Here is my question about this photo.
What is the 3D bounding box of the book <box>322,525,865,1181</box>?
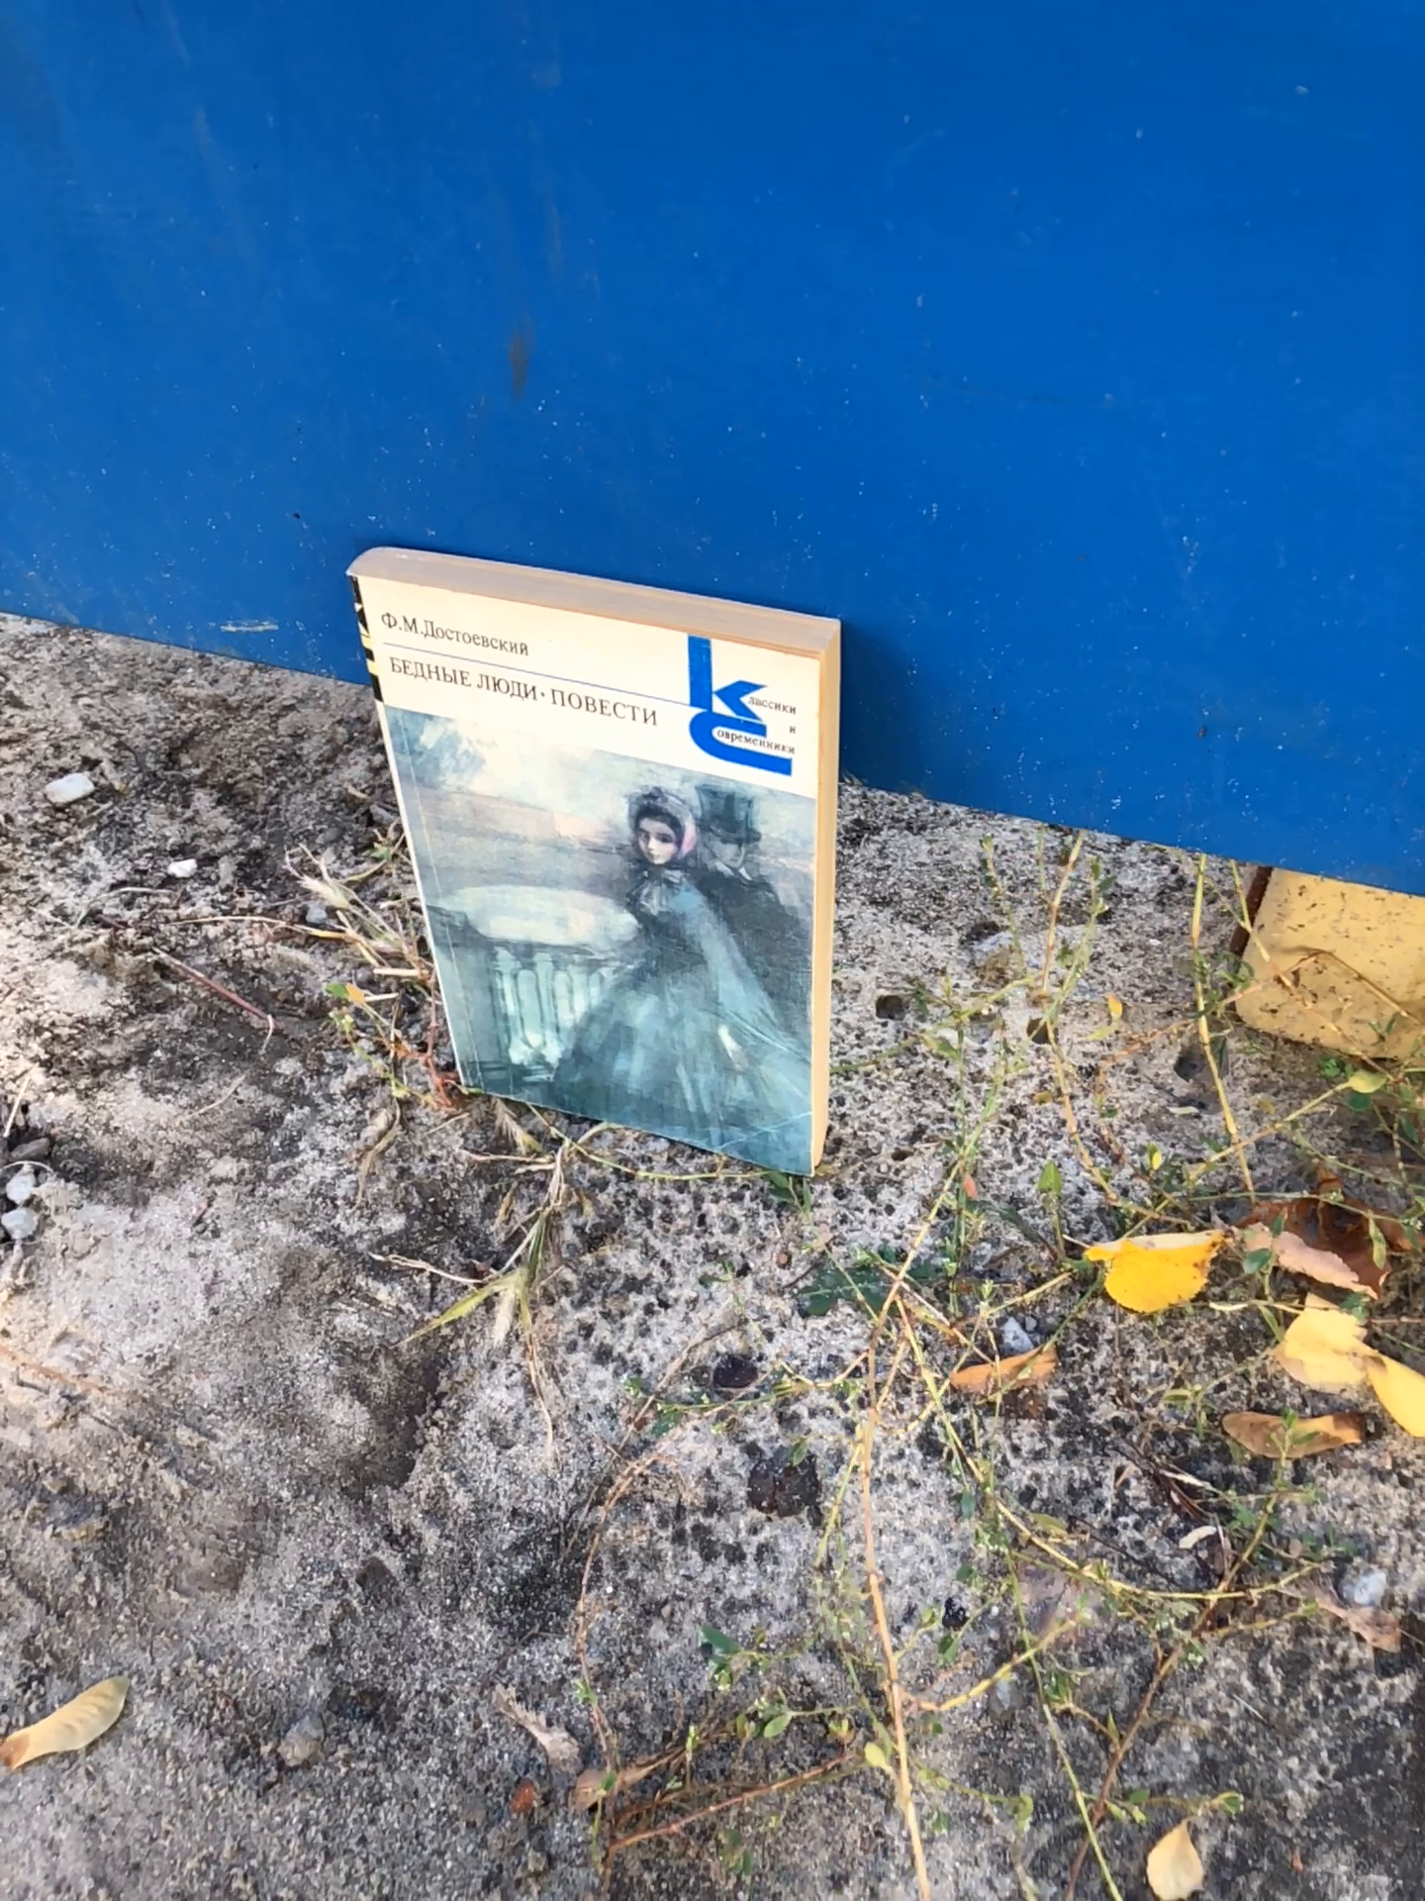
[{"bbox_3d":[-0.026,-0.018,0.435,0.127,0.187,0.026,13,47,15],"label":"book"}]
